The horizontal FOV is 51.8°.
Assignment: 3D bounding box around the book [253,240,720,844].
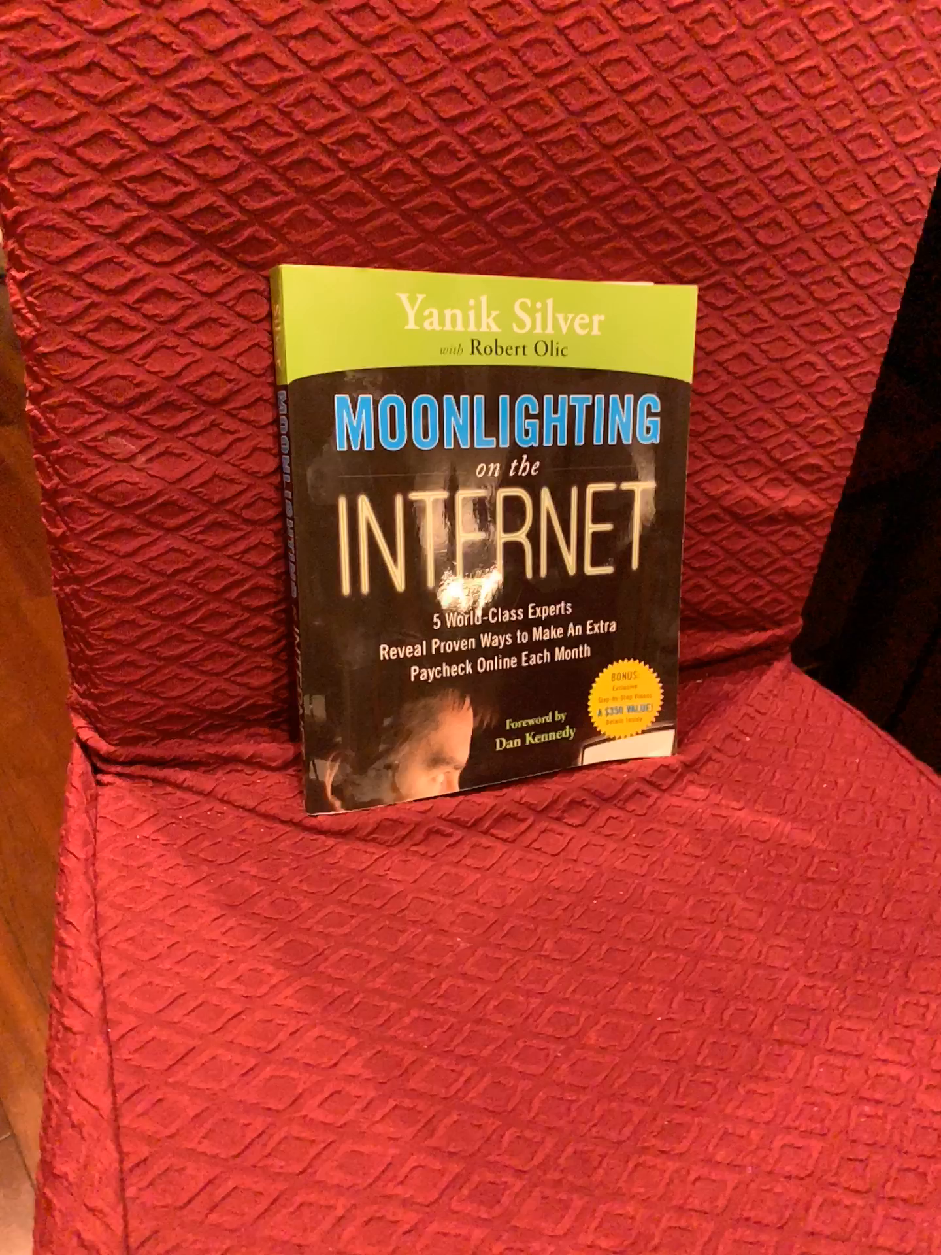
[{"bbox_3d":[0.014,-0.040,0.439,0.200,0.239,0.040,-7,14,-23],"label":"book"}]
